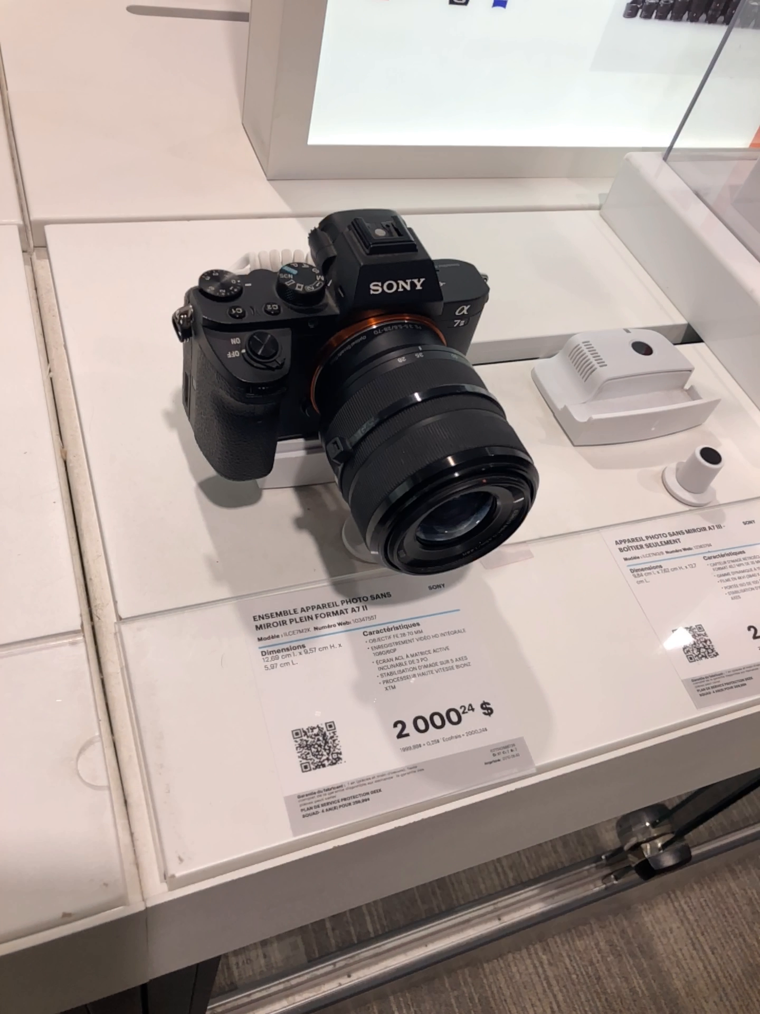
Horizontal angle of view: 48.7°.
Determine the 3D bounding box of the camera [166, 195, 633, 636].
[{"bbox_3d":[-0.005,-0.044,0.345,0.134,0.099,0.131,-12,55,-23],"label":"camera"}]
